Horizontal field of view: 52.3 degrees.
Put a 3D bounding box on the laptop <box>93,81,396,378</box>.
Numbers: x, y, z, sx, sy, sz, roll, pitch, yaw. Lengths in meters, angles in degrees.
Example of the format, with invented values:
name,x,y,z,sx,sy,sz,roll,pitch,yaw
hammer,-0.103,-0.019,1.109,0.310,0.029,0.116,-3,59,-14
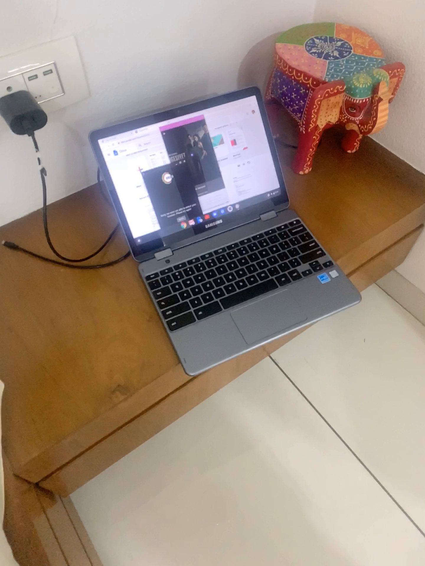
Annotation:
name,x,y,z,sx,sy,sz,roll,pitch,yaw
laptop,0.027,-0.109,0.712,0.314,0.164,0.384,-22,60,-13
